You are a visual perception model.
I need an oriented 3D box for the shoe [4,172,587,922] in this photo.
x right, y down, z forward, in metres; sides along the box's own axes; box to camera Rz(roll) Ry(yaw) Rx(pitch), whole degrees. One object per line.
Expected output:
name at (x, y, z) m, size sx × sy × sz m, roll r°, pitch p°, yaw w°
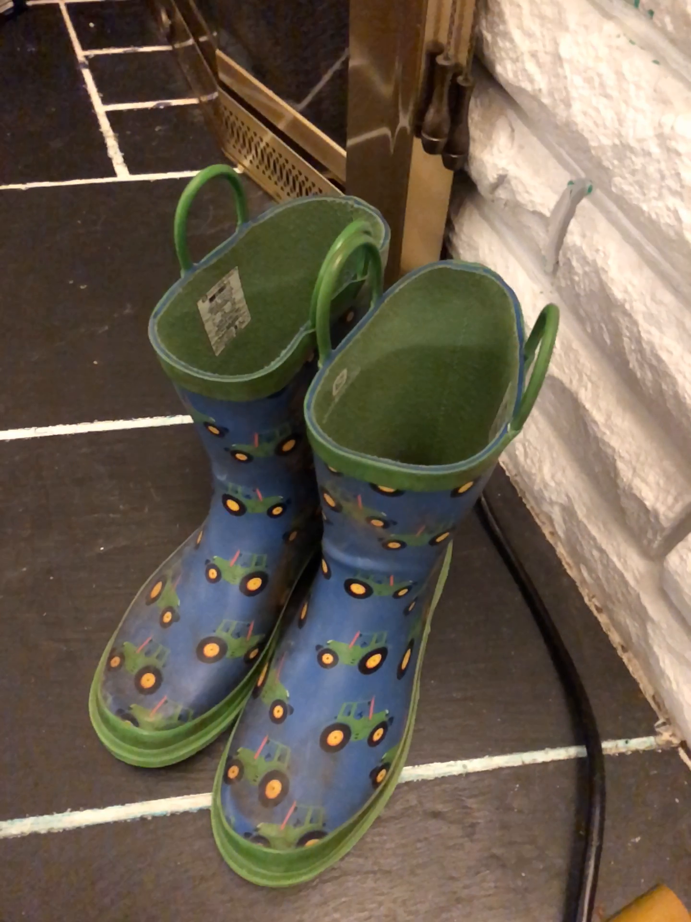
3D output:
shoe at (0.002, 0.049, 0.342) m, size 0.100 × 0.229 × 0.241 m, roll 19°, pitch 57°, yaw 11°

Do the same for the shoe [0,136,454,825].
shoe at (-0.063, 0.022, 0.371) m, size 0.100 × 0.239 × 0.231 m, roll 29°, pitch 59°, yaw 17°
